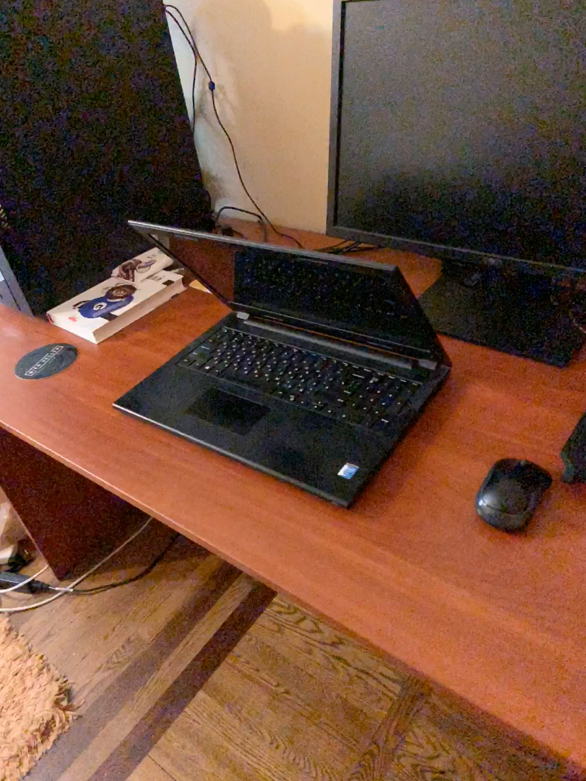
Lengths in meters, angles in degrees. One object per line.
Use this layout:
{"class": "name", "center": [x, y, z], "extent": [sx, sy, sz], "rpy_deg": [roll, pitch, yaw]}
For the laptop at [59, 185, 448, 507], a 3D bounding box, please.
{"class": "laptop", "center": [-0.038, -0.085, 0.733], "extent": [0.373, 0.212, 0.254], "rpy_deg": [19, 46, 32]}
